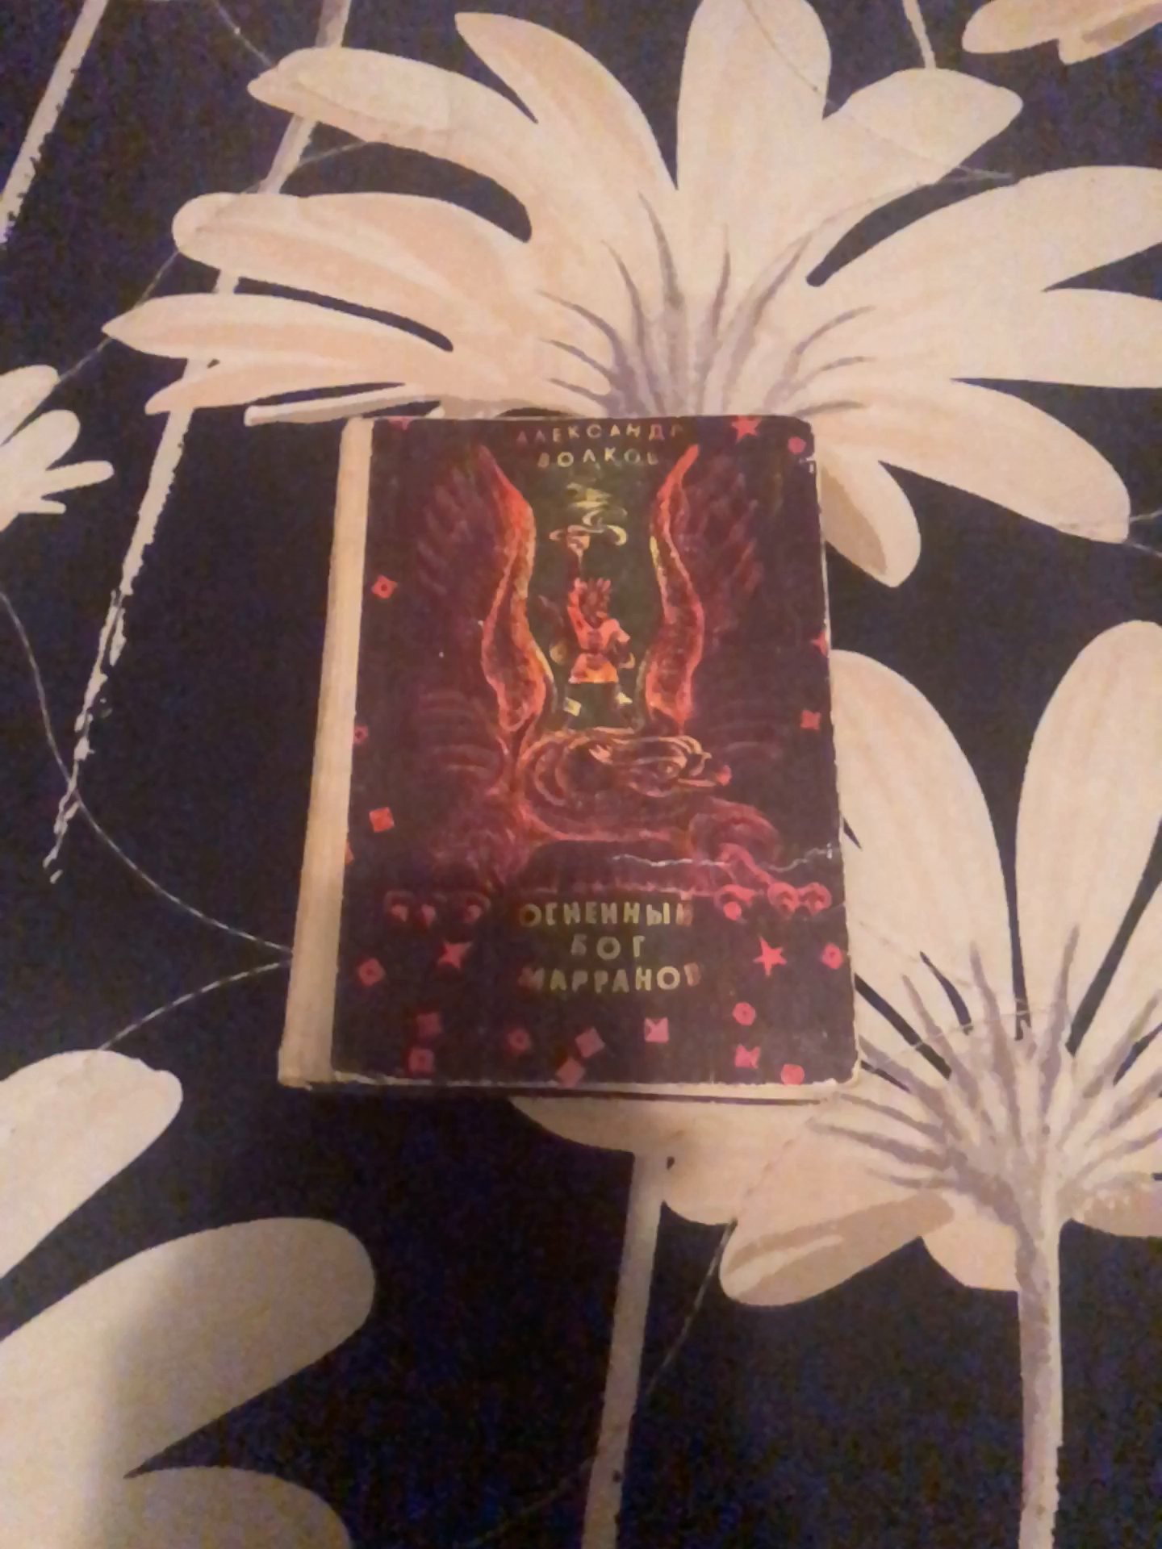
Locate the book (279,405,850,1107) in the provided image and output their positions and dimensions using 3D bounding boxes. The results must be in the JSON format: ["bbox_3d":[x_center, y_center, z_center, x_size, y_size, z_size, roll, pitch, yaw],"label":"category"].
[{"bbox_3d":[-0.002,-0.012,0.384,0.152,0.020,0.211,1,72,0],"label":"book"}]
